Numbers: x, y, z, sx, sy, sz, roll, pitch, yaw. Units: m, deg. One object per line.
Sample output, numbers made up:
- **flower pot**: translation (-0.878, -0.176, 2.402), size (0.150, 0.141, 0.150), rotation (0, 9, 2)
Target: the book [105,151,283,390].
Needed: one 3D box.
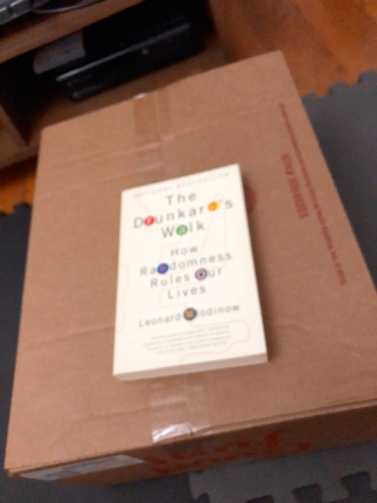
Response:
- **book**: translation (-0.001, 0.011, 0.404), size (0.140, 0.040, 0.211), rotation (-12, 56, 13)
